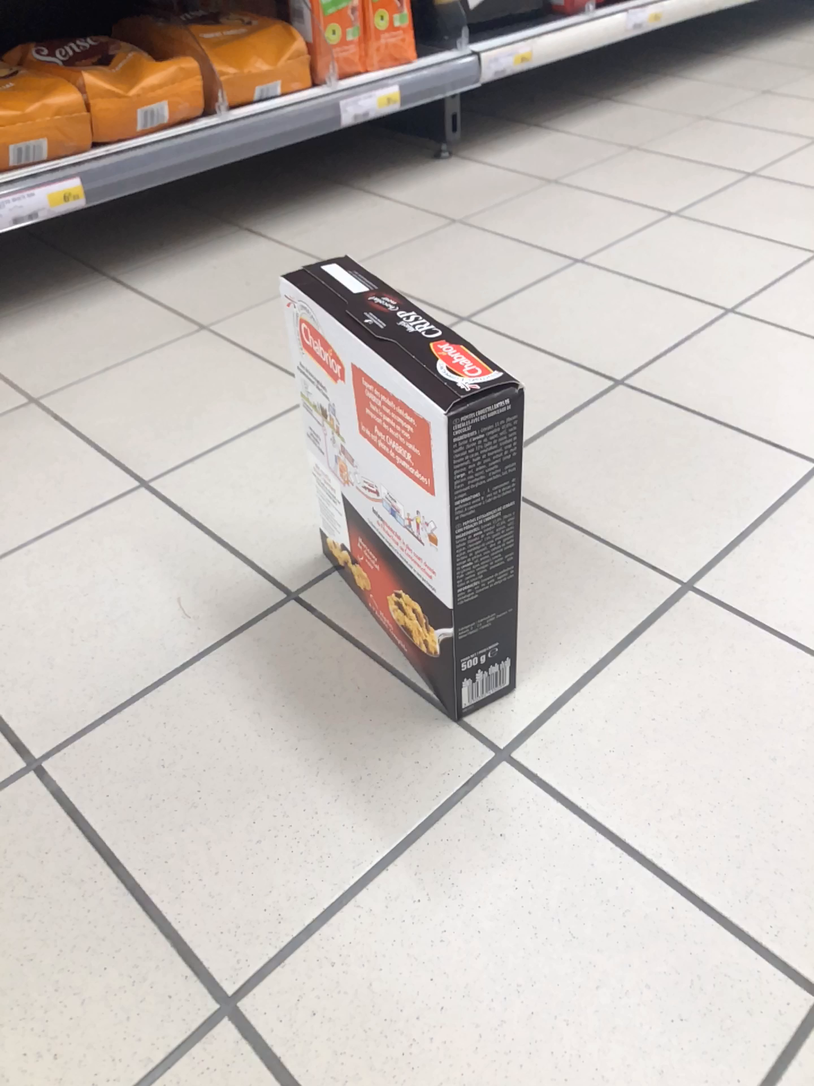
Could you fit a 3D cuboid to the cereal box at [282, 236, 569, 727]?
[{"bbox_3d":[0.005,-0.040,0.556,0.060,0.229,0.201,-22,43,-22],"label":"cereal box"}]
